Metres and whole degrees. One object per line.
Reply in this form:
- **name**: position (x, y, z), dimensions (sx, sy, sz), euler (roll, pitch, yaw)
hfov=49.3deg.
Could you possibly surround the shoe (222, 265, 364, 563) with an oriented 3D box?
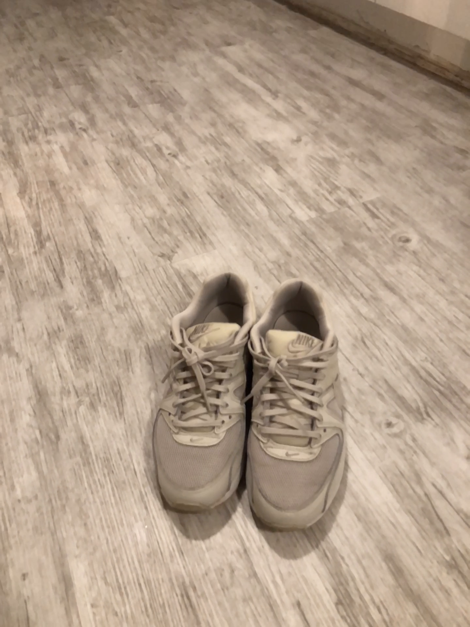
- **shoe**: position (0.058, 0.082, 0.492), dimensions (0.100, 0.120, 0.250), euler (2, 46, 7)

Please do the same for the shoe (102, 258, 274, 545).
- **shoe**: position (-0.027, 0.074, 0.516), dimensions (0.090, 0.120, 0.250), euler (7, 46, 12)
